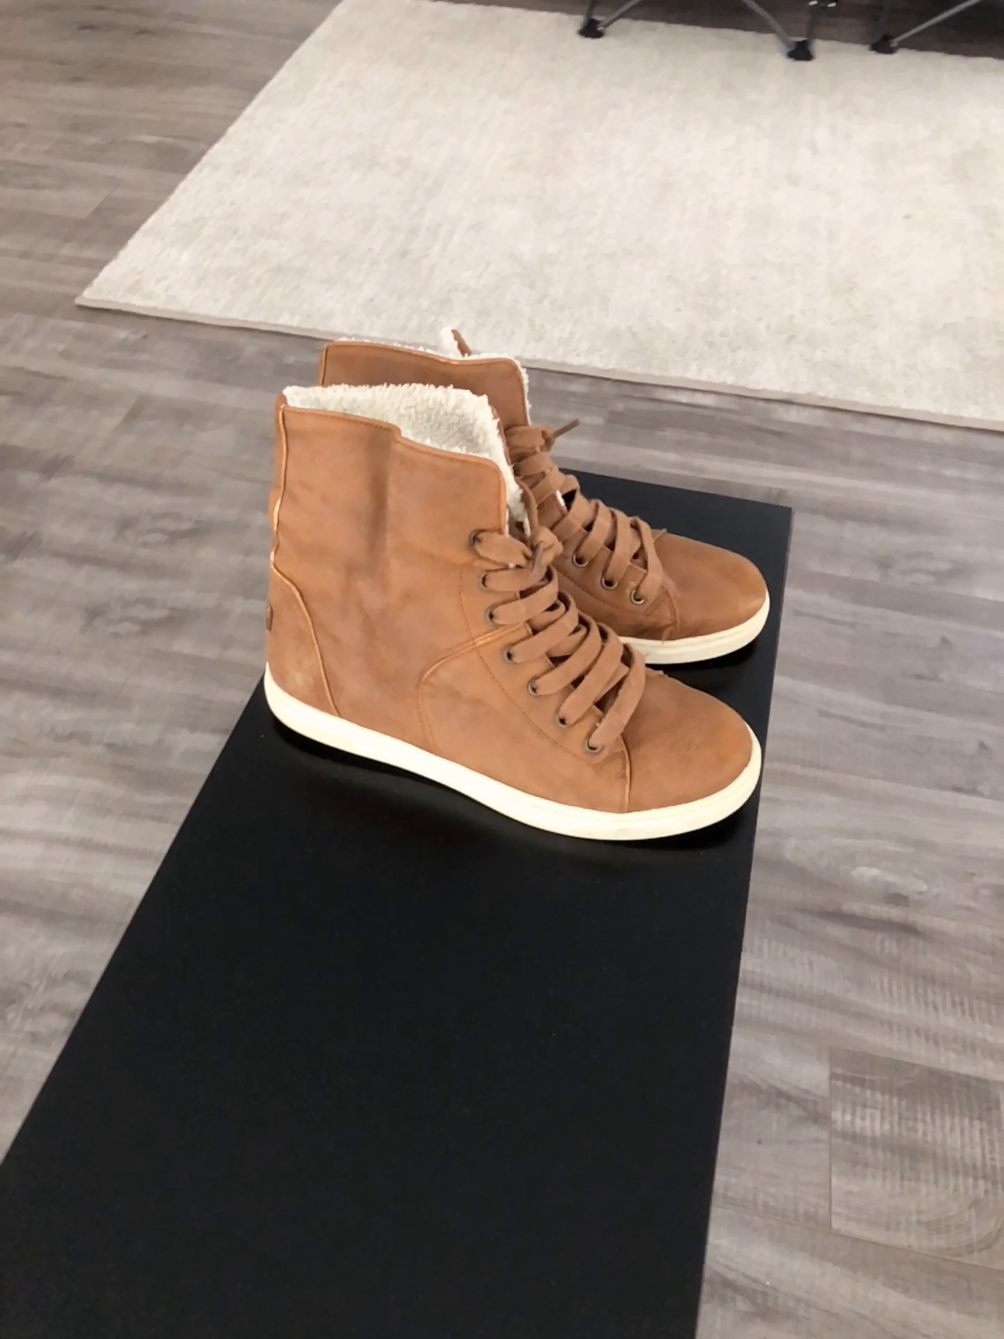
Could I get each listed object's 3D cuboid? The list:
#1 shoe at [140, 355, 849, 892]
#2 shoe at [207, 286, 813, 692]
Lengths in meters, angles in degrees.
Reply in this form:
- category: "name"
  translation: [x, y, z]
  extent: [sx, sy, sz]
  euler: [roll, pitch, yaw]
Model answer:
- category: "shoe"
  translation: [-0.001, -0.022, 0.494]
  extent: [0.260, 0.150, 0.110]
  euler: [14, 49, 11]
- category: "shoe"
  translation: [0.007, -0.090, 0.558]
  extent: [0.260, 0.140, 0.110]
  euler: [7, 48, 4]
